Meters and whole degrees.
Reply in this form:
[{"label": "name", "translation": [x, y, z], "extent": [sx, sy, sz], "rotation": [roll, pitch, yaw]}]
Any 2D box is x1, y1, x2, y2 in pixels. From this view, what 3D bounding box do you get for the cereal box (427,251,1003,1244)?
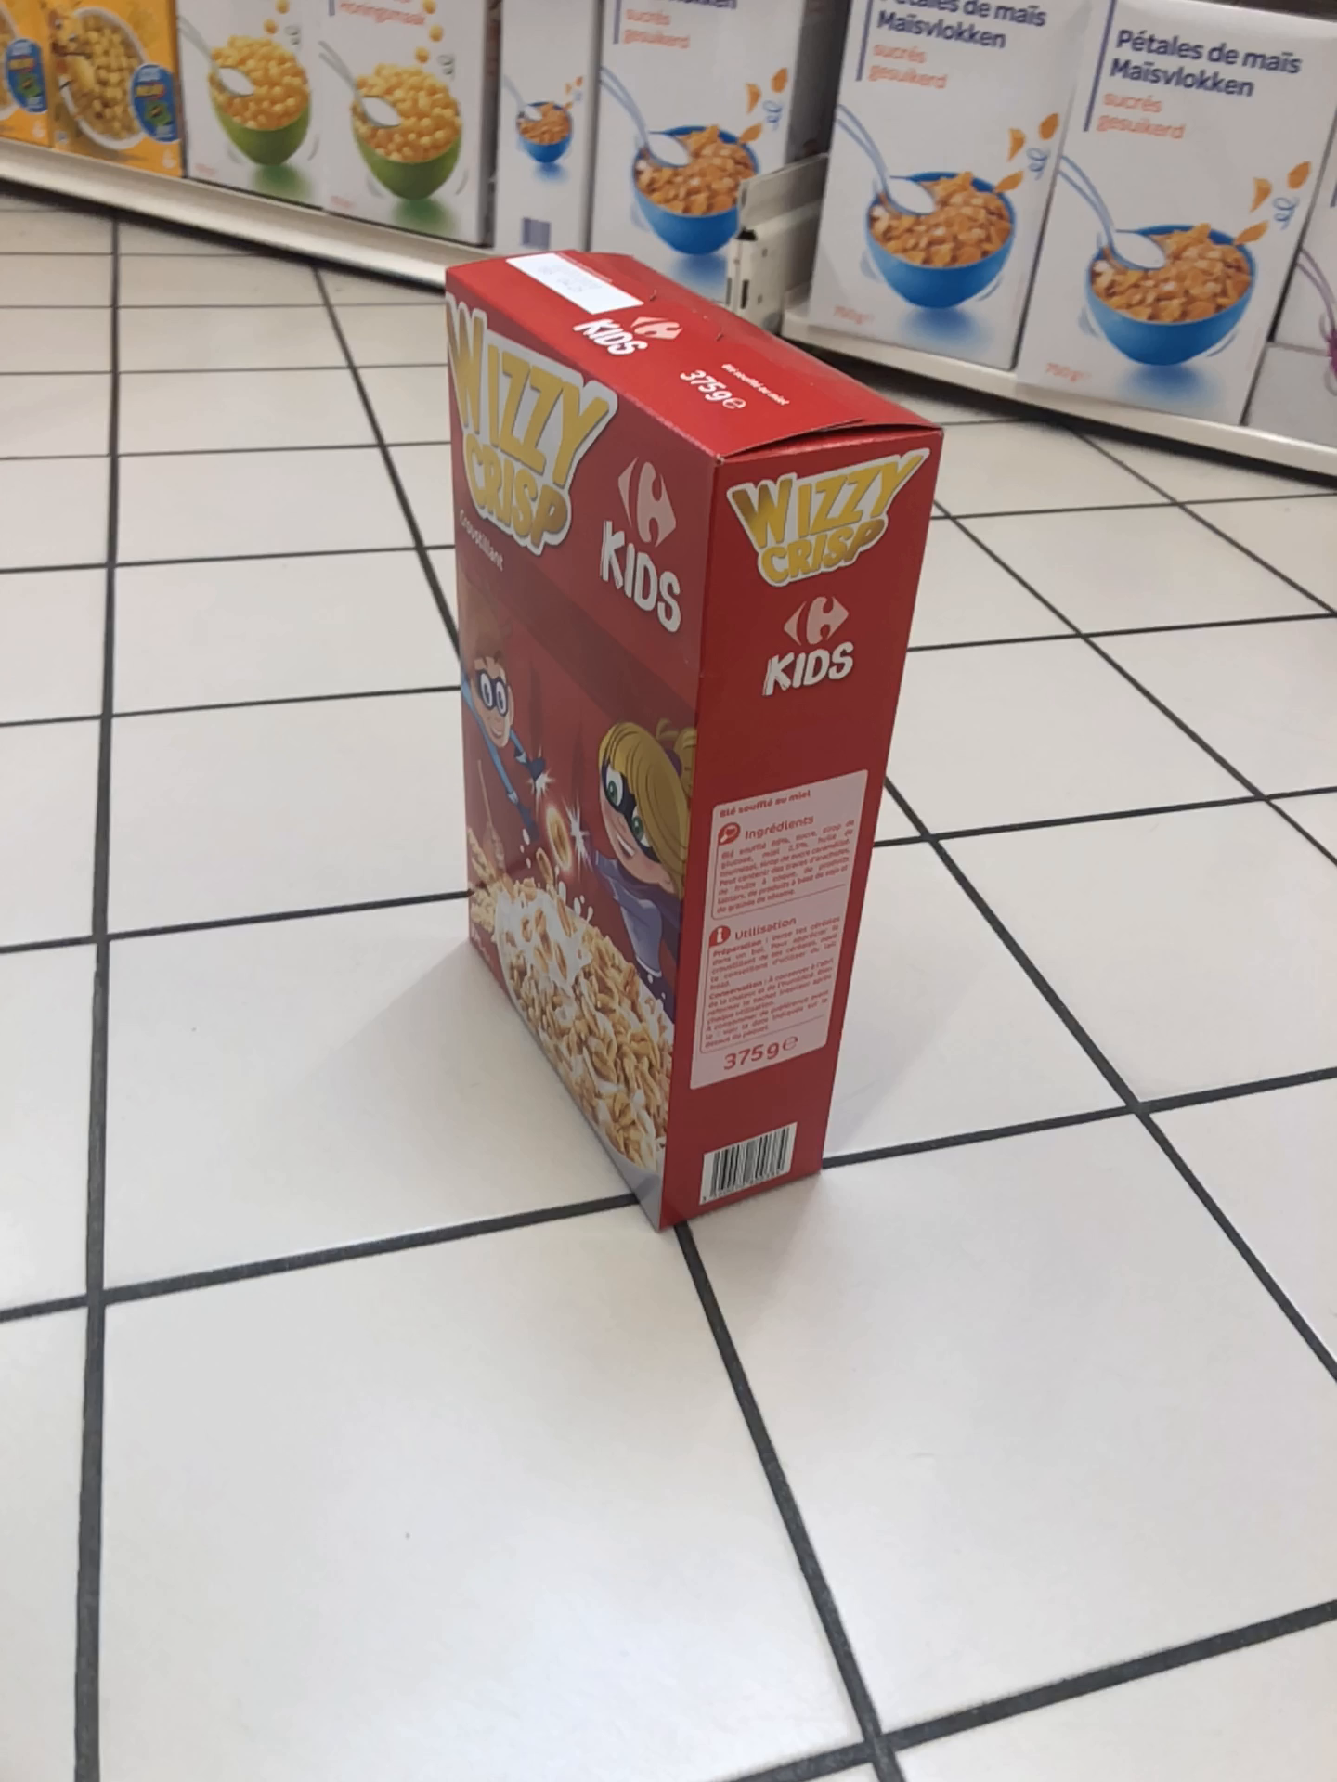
[{"label": "cereal box", "translation": [-0.005, -0.052, 0.515], "extent": [0.090, 0.278, 0.191], "rotation": [-14, 39, -24]}]
